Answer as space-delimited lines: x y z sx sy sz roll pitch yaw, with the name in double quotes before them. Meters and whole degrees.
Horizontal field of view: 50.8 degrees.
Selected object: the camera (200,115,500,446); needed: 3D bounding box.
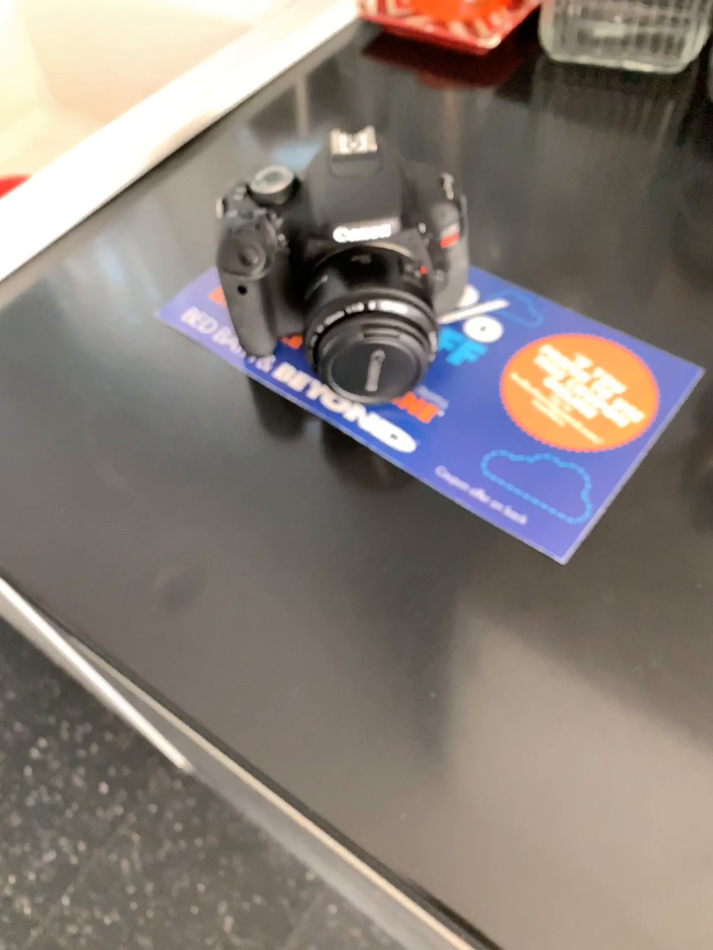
"camera" -0.004 -0.097 0.379 0.122 0.098 0.118 -5 55 1
